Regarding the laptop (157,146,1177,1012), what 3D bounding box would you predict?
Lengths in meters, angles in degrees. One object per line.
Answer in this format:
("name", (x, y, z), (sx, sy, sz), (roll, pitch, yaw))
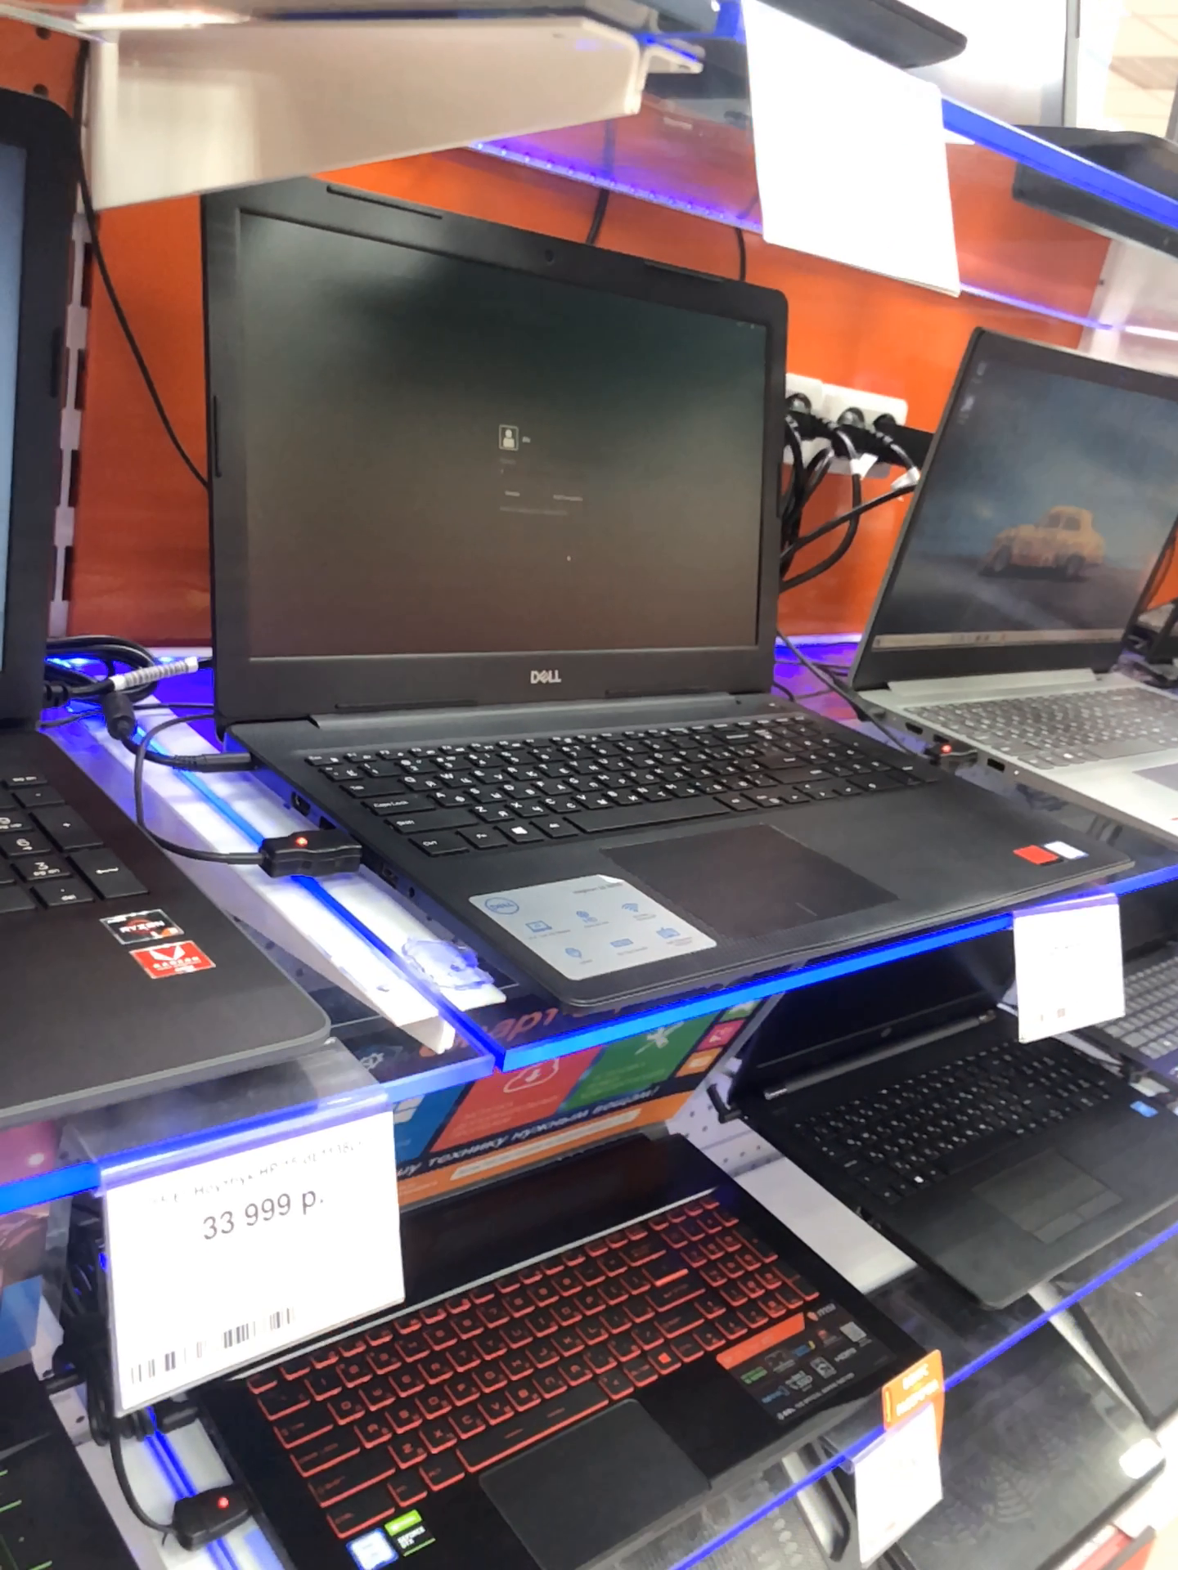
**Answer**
("laptop", (0.057, -0.114, 0.598), (0.374, 0.233, 0.316), (-6, 26, -42))
